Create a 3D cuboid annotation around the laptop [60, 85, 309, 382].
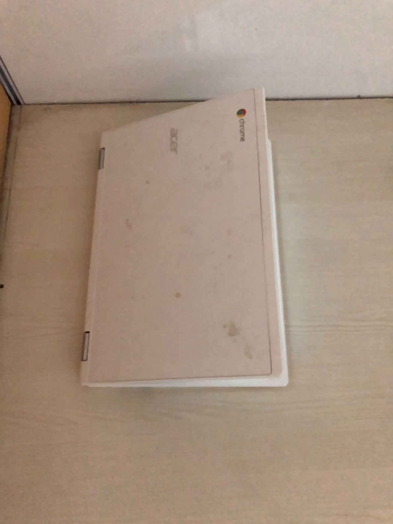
[{"bbox_3d":[-0.010,-0.030,0.440,0.200,0.092,0.284,0,70,1],"label":"laptop"}]
